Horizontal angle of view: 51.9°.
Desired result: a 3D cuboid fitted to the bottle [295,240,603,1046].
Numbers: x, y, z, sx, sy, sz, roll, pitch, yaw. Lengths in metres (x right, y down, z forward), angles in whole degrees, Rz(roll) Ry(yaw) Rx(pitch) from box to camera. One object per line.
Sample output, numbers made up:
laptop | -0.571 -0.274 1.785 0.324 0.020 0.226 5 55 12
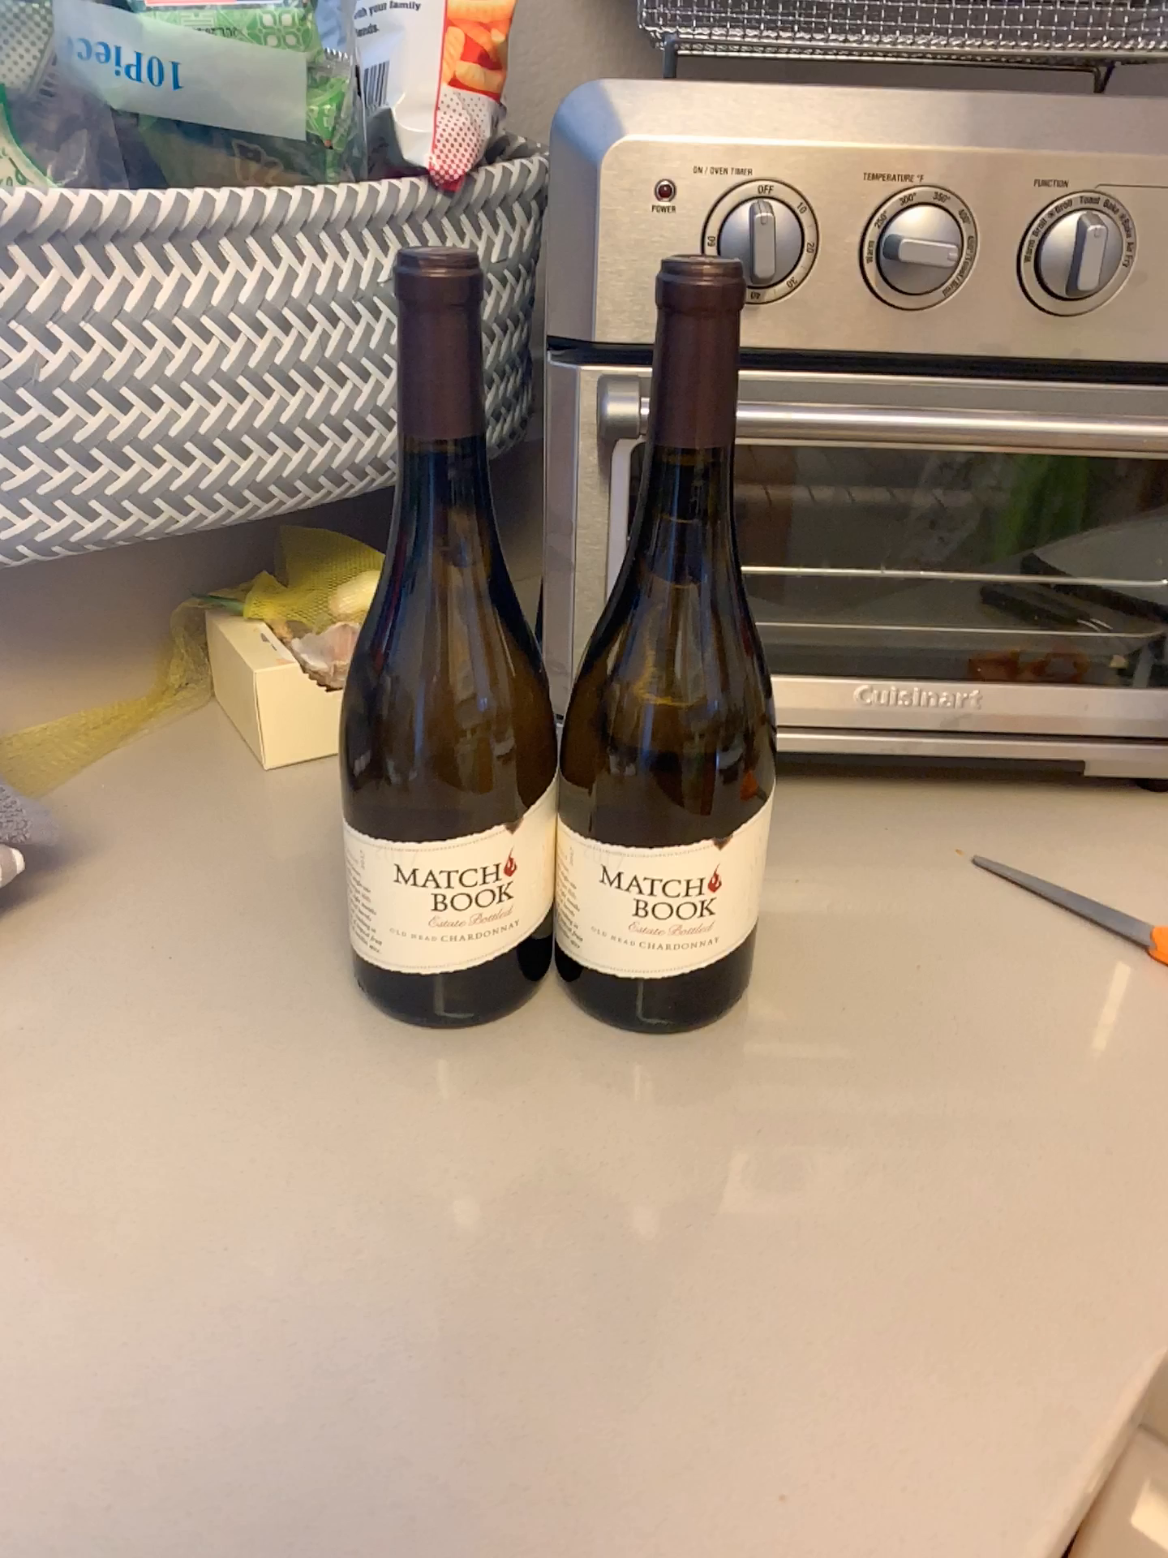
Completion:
bottle | -0.050 -0.044 0.460 0.090 0.288 0.091 1 29 -1

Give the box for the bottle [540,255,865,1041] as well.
bottle | 0.031 -0.040 0.452 0.090 0.278 0.091 1 29 -1
